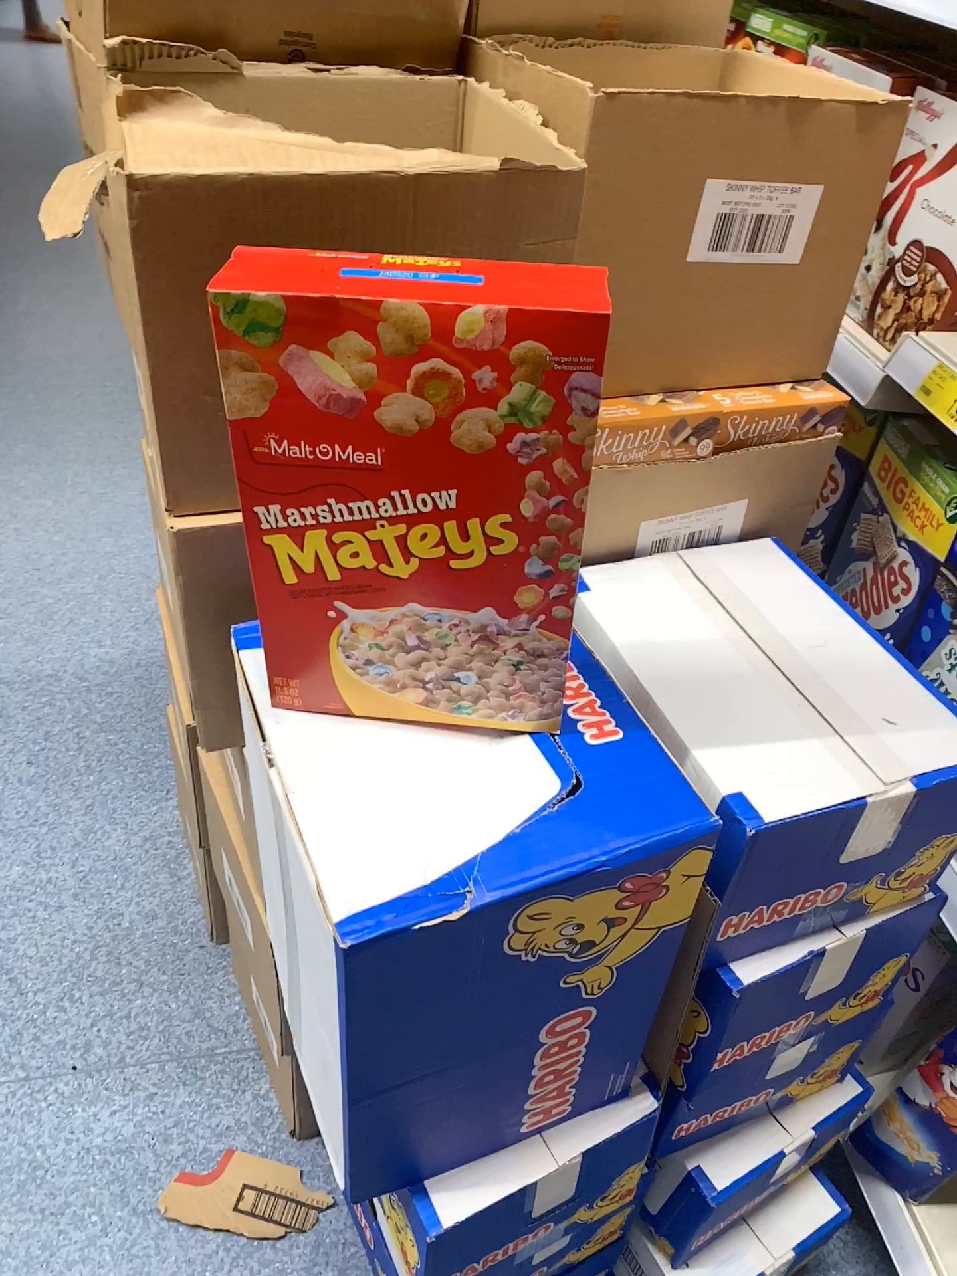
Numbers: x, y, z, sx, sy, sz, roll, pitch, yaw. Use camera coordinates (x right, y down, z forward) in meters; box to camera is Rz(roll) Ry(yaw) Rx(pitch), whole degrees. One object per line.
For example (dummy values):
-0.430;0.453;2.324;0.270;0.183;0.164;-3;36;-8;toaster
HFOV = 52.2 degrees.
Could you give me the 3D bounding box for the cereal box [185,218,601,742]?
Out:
-0.040;-0.075;0.561;0.190;0.287;0.071;5;40;3;cereal box
